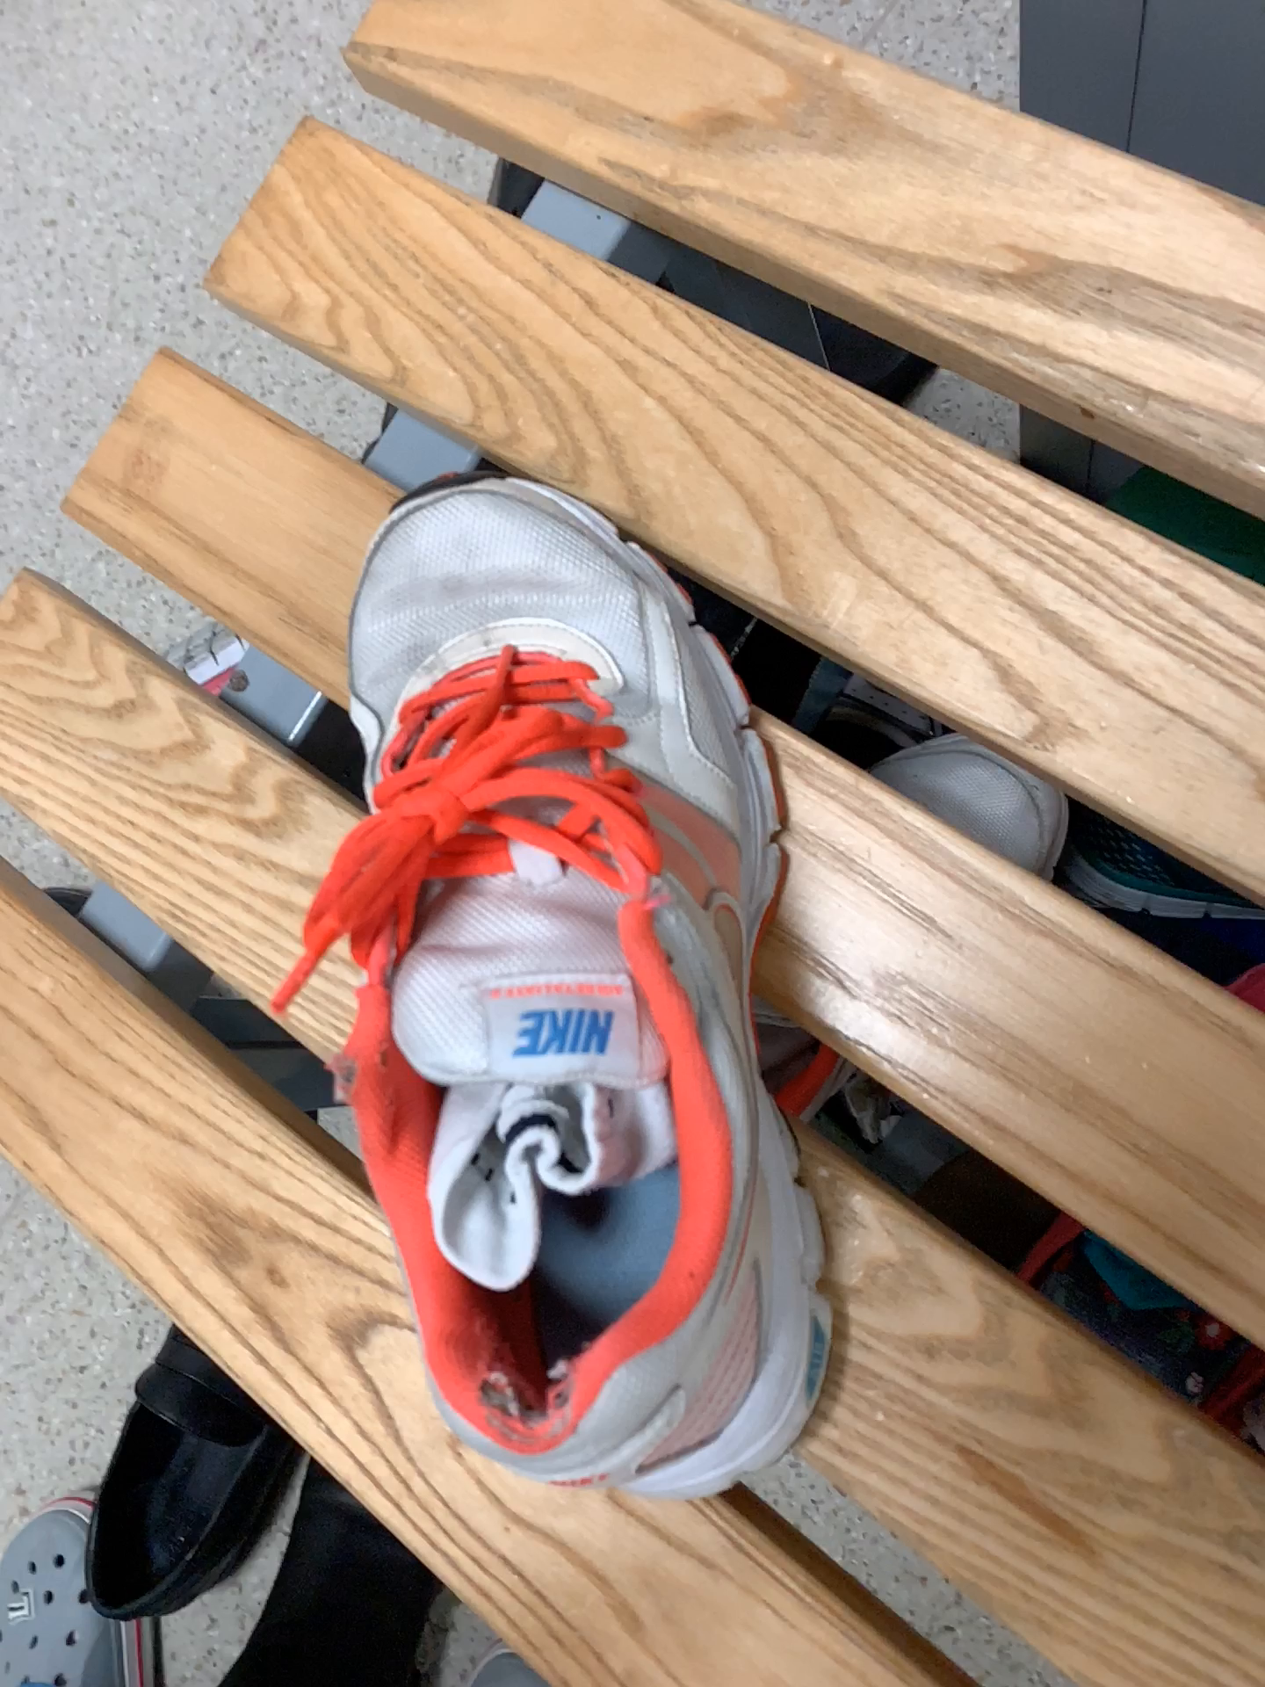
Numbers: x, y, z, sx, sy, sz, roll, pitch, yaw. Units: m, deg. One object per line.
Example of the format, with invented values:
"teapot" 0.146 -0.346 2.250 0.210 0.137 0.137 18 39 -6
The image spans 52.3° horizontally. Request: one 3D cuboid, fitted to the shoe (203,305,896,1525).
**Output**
"shoe" -0.020 0.016 0.310 0.110 0.079 0.242 -13 77 14
